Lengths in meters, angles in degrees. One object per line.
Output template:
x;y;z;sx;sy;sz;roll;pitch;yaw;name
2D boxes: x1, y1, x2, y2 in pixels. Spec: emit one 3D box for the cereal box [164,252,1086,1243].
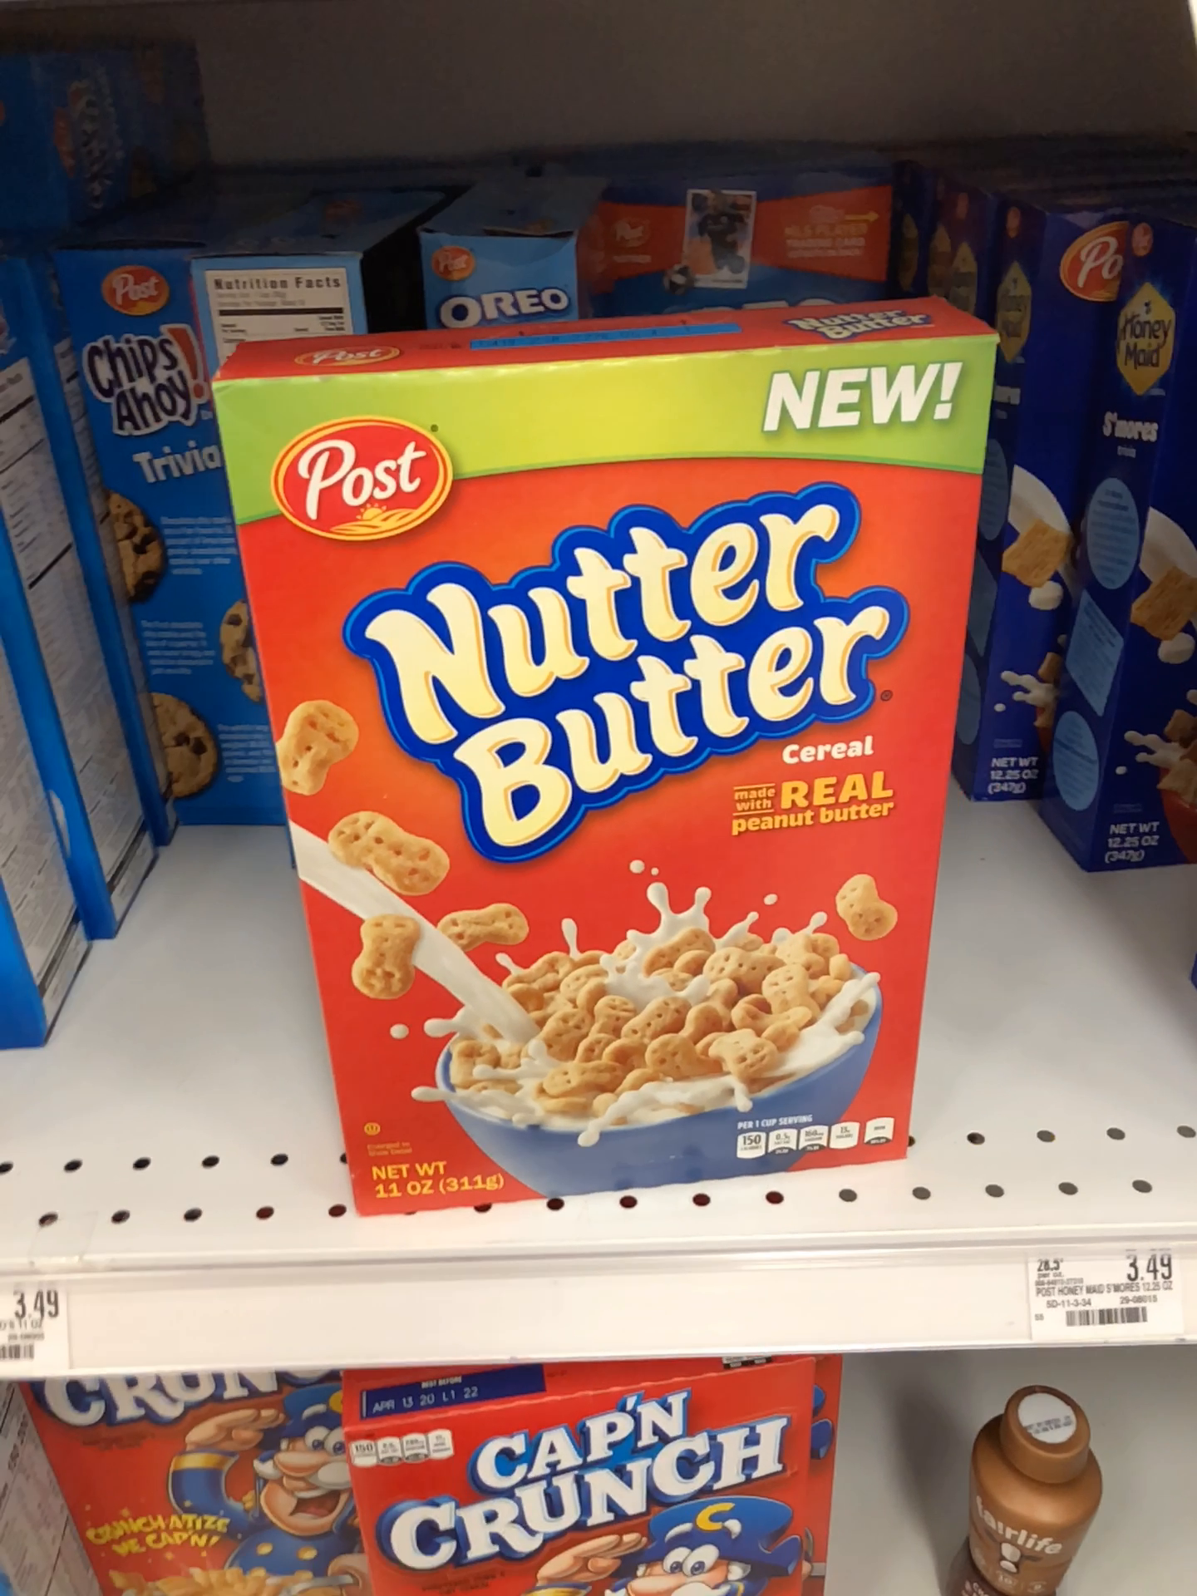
0.010;-0.003;0.383;0.200;0.269;0.070;-5;30;-4;cereal box
